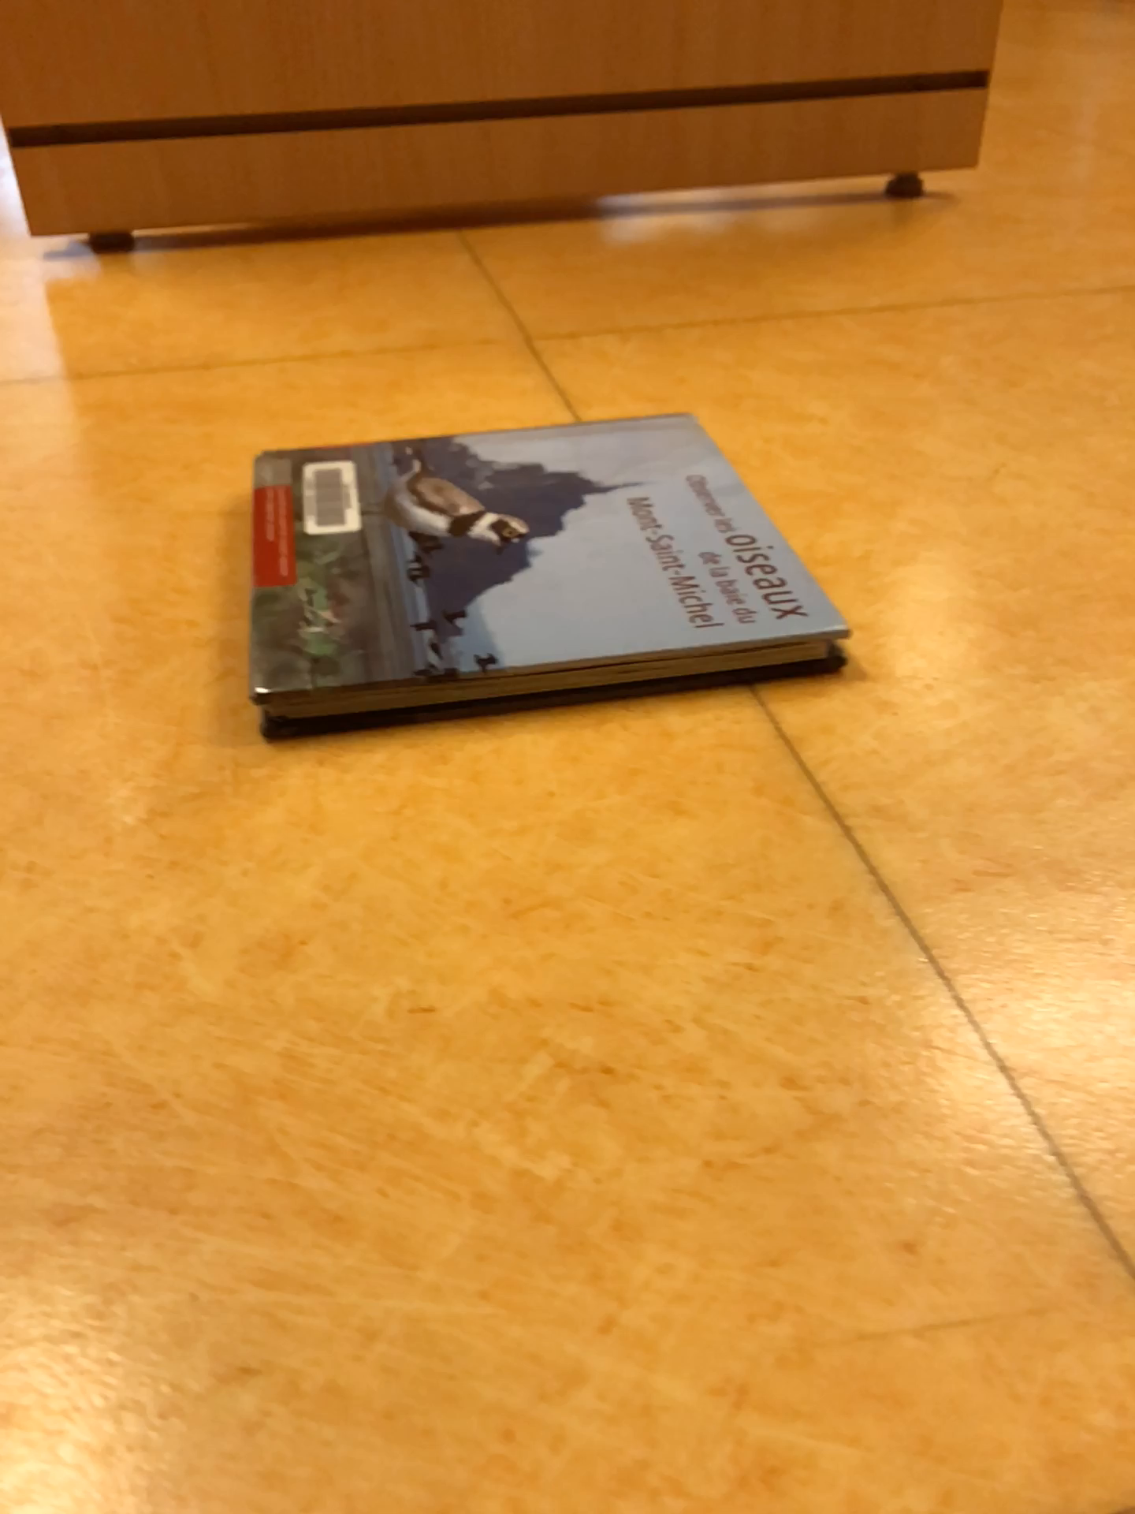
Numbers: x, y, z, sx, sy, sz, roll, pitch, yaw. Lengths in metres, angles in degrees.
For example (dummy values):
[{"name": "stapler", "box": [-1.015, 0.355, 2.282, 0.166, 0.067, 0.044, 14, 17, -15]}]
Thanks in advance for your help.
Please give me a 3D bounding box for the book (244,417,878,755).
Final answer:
[{"name": "book", "box": [-0.013, -0.059, 0.370, 0.156, 0.015, 0.154, -7, 36, -9]}]
